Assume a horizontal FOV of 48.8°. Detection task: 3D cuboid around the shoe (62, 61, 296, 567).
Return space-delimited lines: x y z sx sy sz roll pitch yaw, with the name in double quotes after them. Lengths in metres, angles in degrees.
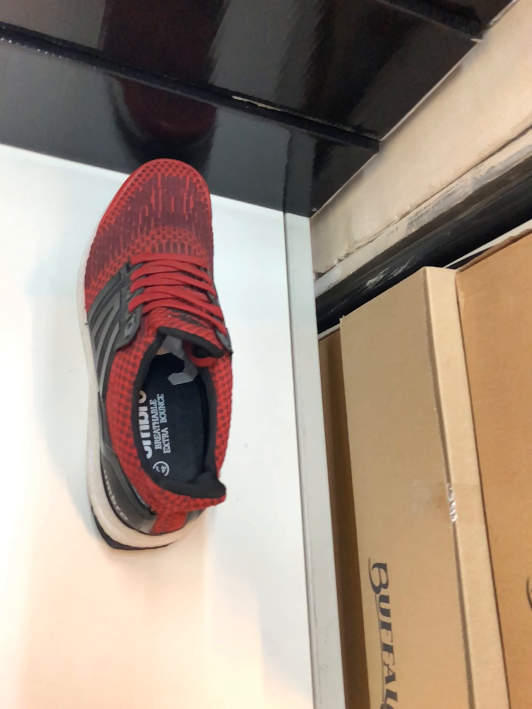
-0.061 -0.020 0.385 0.111 0.108 0.286 5 74 -25 "shoe"
